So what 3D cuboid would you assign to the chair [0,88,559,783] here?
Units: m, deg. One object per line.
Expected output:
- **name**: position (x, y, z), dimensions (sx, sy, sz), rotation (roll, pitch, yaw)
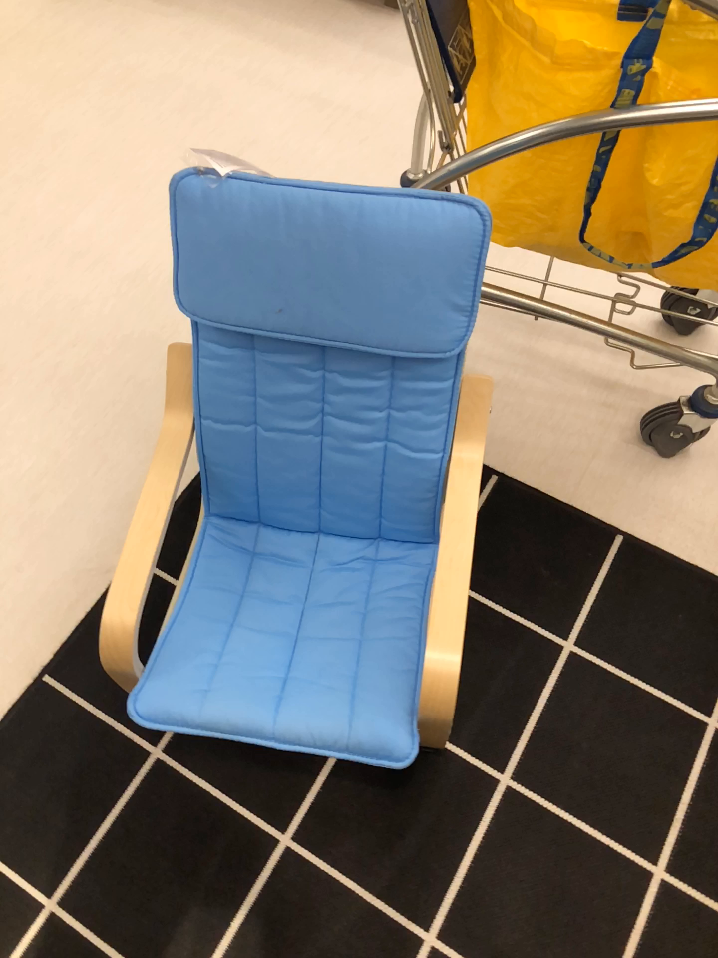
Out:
- **chair**: position (-0.059, 0.033, 1.141), dimensions (0.490, 0.876, 0.562), rotation (8, 60, 5)
